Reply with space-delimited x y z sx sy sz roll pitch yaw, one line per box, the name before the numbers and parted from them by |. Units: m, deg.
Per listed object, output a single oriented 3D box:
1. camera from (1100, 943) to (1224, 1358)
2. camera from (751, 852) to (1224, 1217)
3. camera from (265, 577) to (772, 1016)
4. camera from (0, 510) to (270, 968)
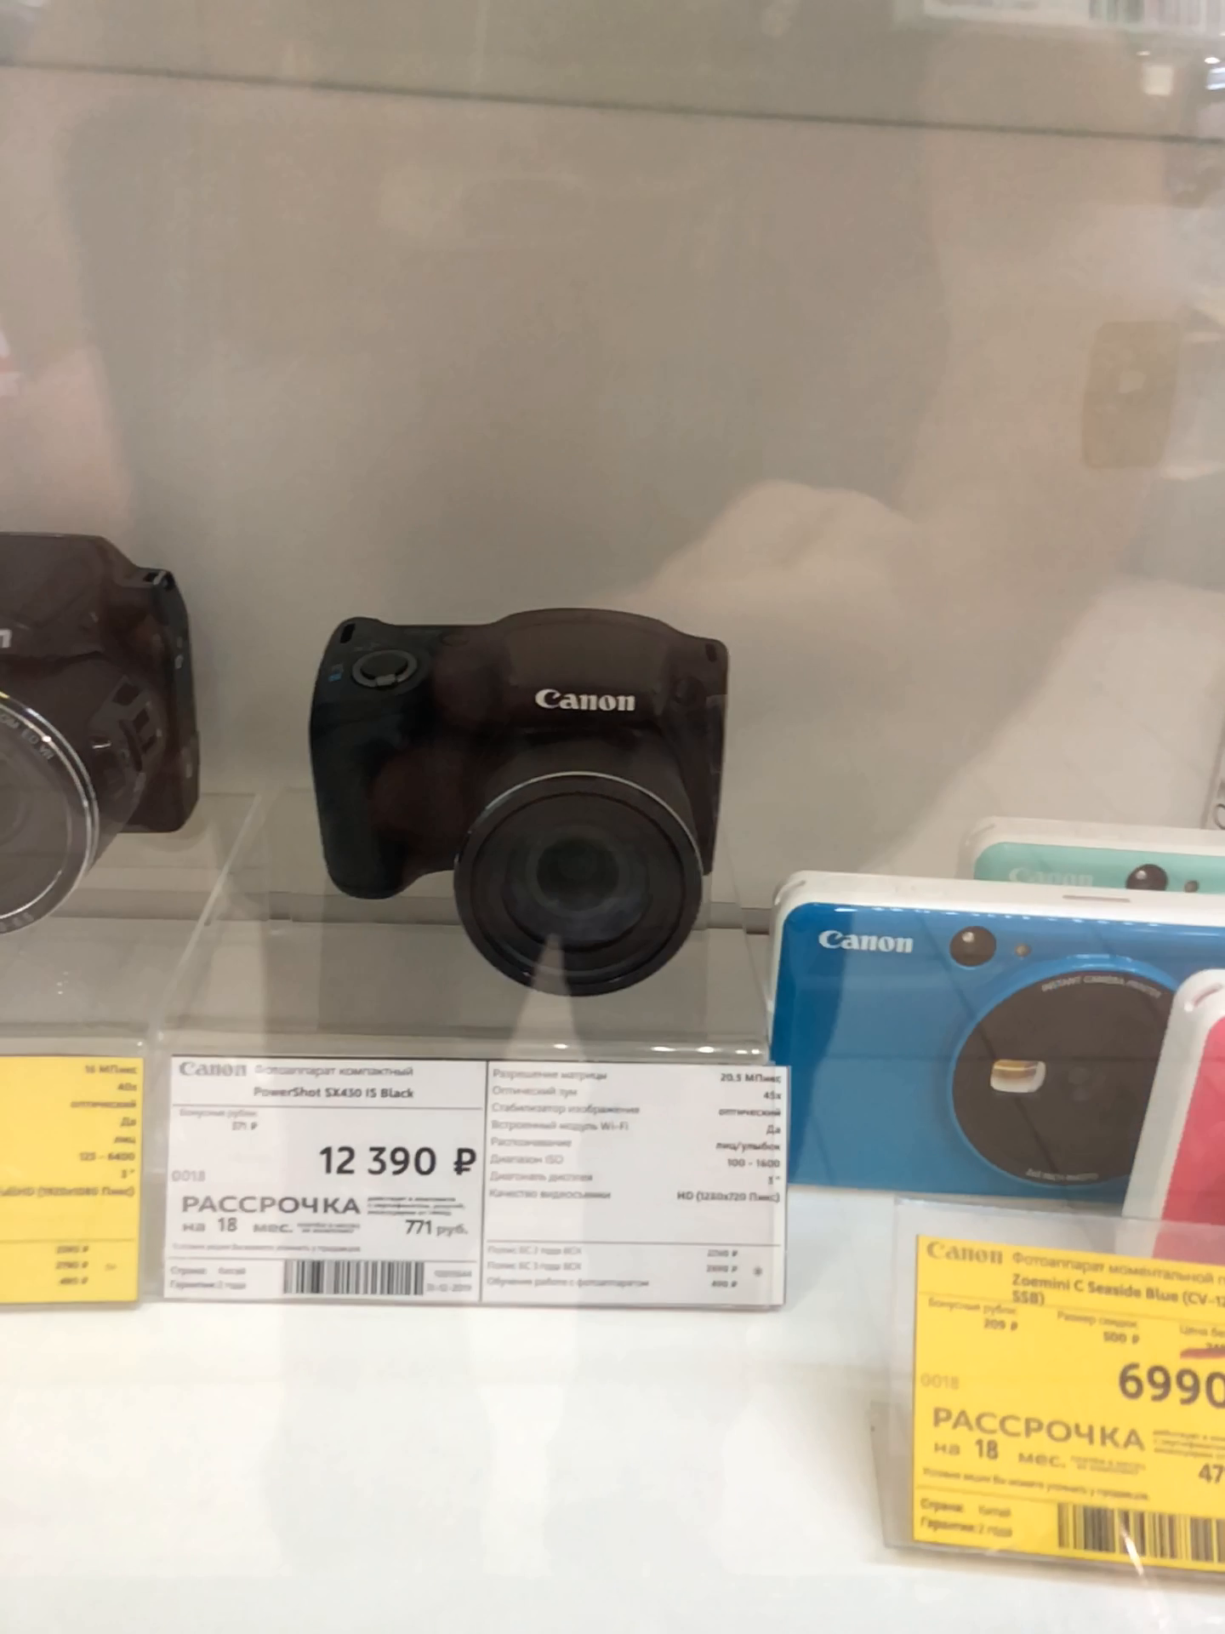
camera | 0.170 0.068 0.277 0.118 0.073 0.028 3 24 1
camera | 0.095 0.051 0.315 0.118 0.073 0.028 3 24 1
camera | -0.020 -0.009 0.323 0.100 0.070 0.093 2 24 -1
camera | -0.142 -0.023 0.313 0.100 0.073 0.093 2 24 -1
